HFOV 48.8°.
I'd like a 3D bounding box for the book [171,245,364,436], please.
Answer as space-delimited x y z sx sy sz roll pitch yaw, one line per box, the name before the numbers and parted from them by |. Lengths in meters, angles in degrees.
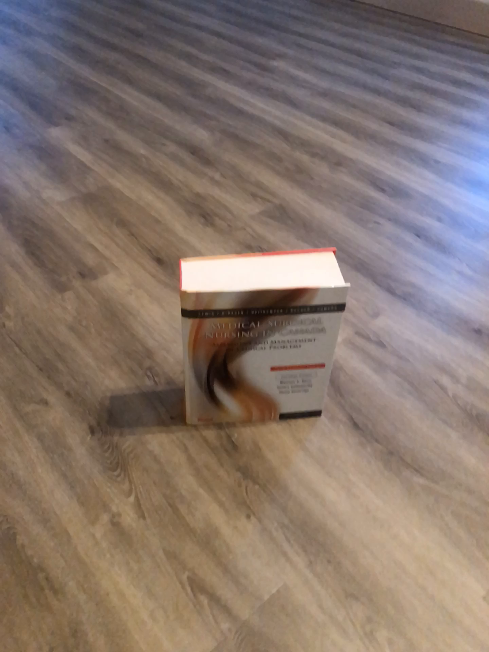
book | 0.021 0.031 0.798 0.240 0.290 0.087 -3 43 -8
